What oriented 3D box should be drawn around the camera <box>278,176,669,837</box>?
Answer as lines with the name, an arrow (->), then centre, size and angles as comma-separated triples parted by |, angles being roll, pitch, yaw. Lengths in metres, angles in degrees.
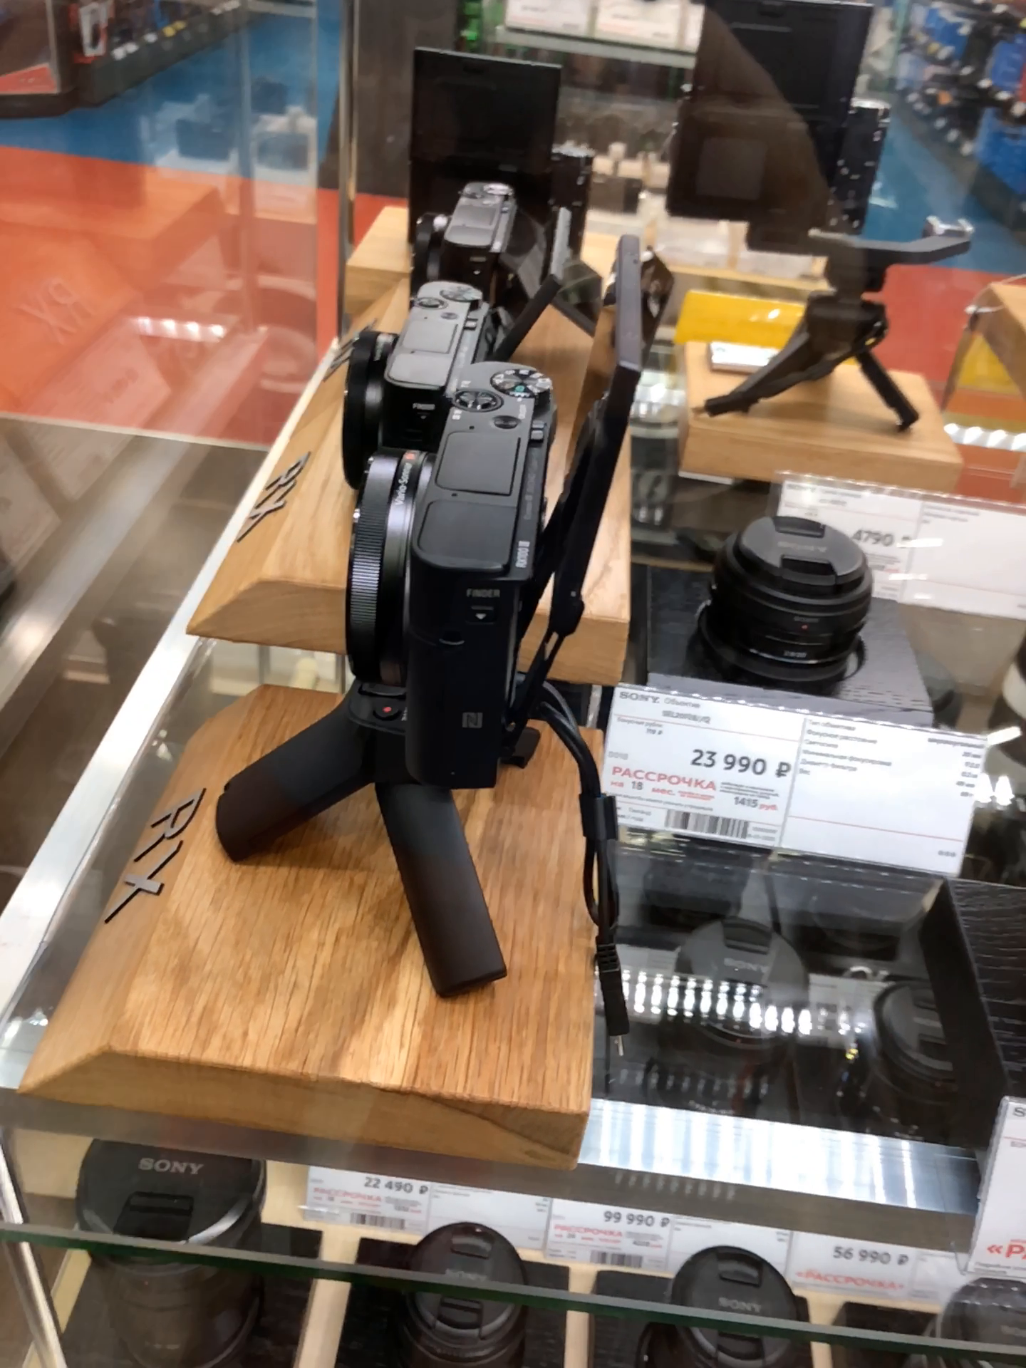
camera -> -0.006, -0.044, 0.252 | 0.062, 0.097, 0.109 | 8, 37, 1

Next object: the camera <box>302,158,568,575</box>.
camera -> -0.025, -0.112, 0.393 | 0.069, 0.097, 0.109 | 8, 37, 1
